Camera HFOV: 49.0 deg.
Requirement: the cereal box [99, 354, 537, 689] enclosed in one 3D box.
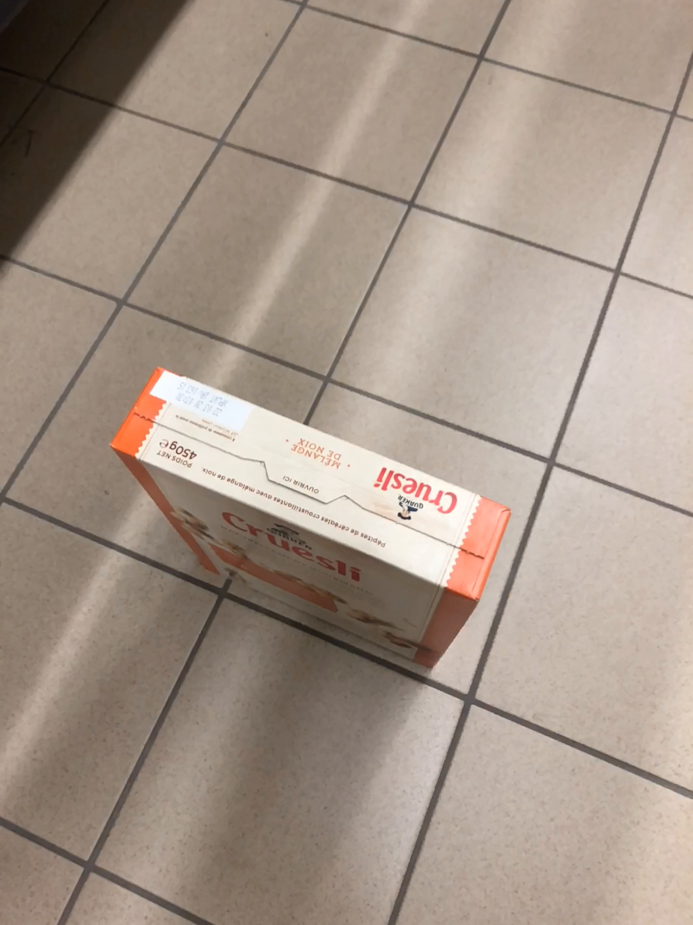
[{"bbox_3d":[-0.013,0.056,0.473,0.200,0.249,0.060,23,70,10],"label":"cereal box"}]
